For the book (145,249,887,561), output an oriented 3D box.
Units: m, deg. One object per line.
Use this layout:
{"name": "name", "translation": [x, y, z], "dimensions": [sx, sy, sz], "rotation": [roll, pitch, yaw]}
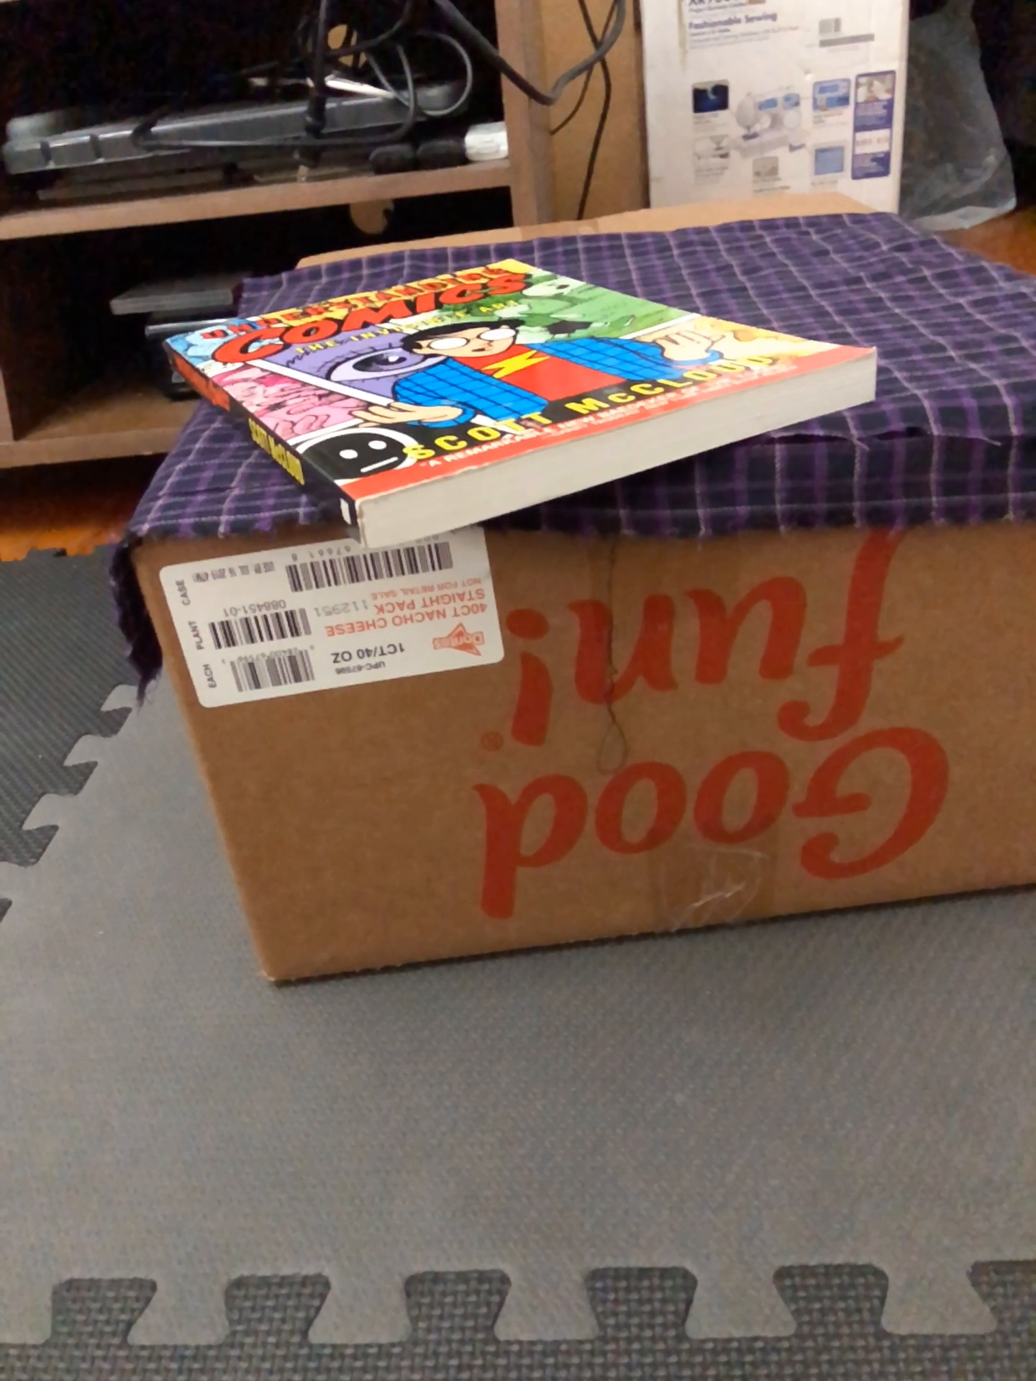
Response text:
{"name": "book", "translation": [-0.026, -0.123, 0.421], "dimensions": [0.170, 0.020, 0.271], "rotation": [-19, 32, -19]}
